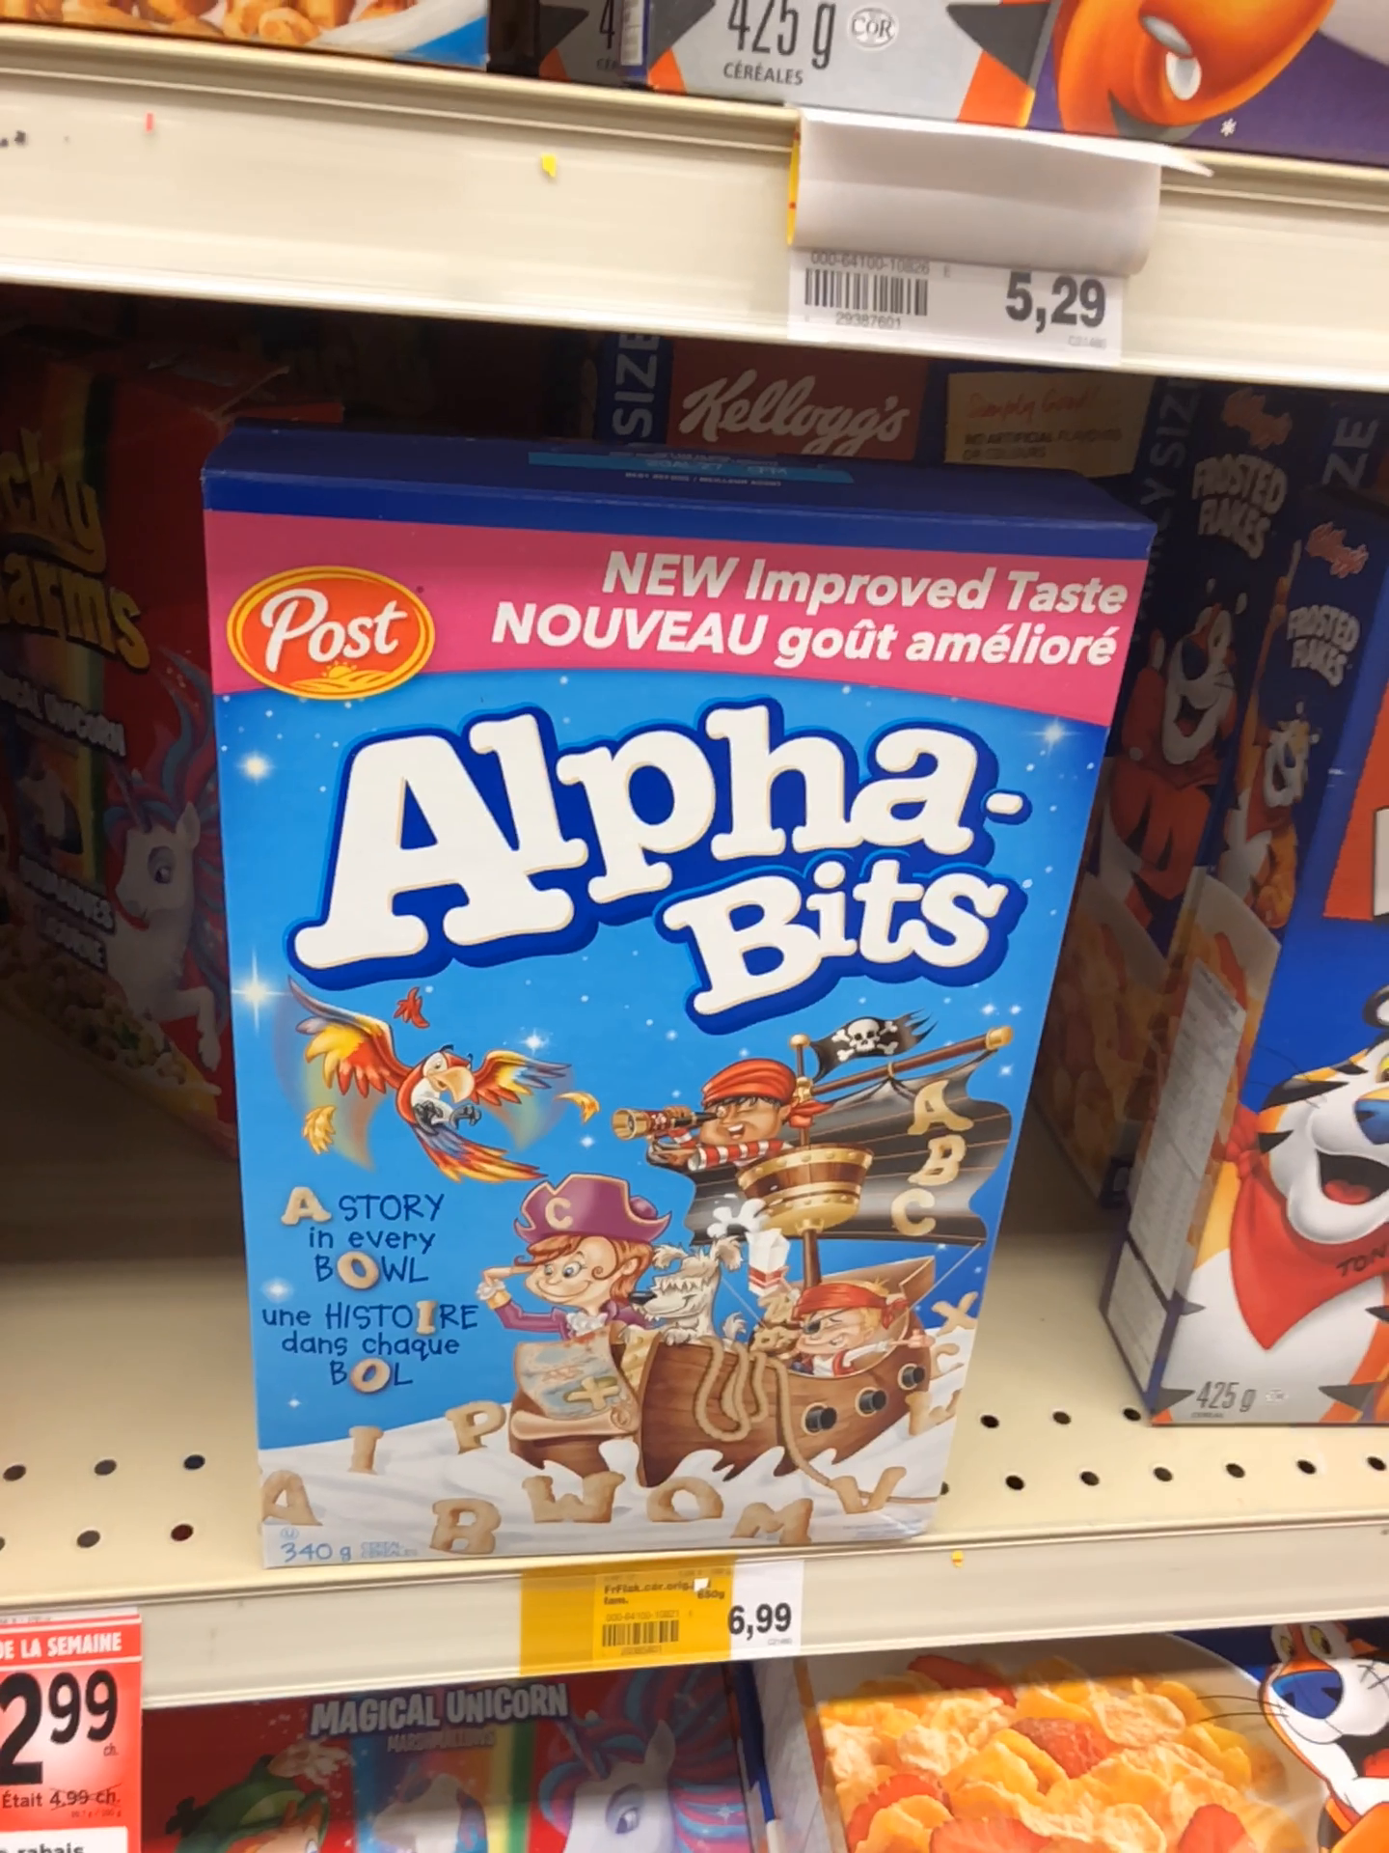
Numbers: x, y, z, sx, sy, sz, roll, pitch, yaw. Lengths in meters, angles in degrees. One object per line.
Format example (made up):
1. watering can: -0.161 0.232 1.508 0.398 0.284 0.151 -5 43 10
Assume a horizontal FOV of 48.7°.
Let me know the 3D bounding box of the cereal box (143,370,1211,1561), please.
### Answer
1. cereal box: -0.017 0.031 0.383 0.200 0.298 0.060 2 30 -9
